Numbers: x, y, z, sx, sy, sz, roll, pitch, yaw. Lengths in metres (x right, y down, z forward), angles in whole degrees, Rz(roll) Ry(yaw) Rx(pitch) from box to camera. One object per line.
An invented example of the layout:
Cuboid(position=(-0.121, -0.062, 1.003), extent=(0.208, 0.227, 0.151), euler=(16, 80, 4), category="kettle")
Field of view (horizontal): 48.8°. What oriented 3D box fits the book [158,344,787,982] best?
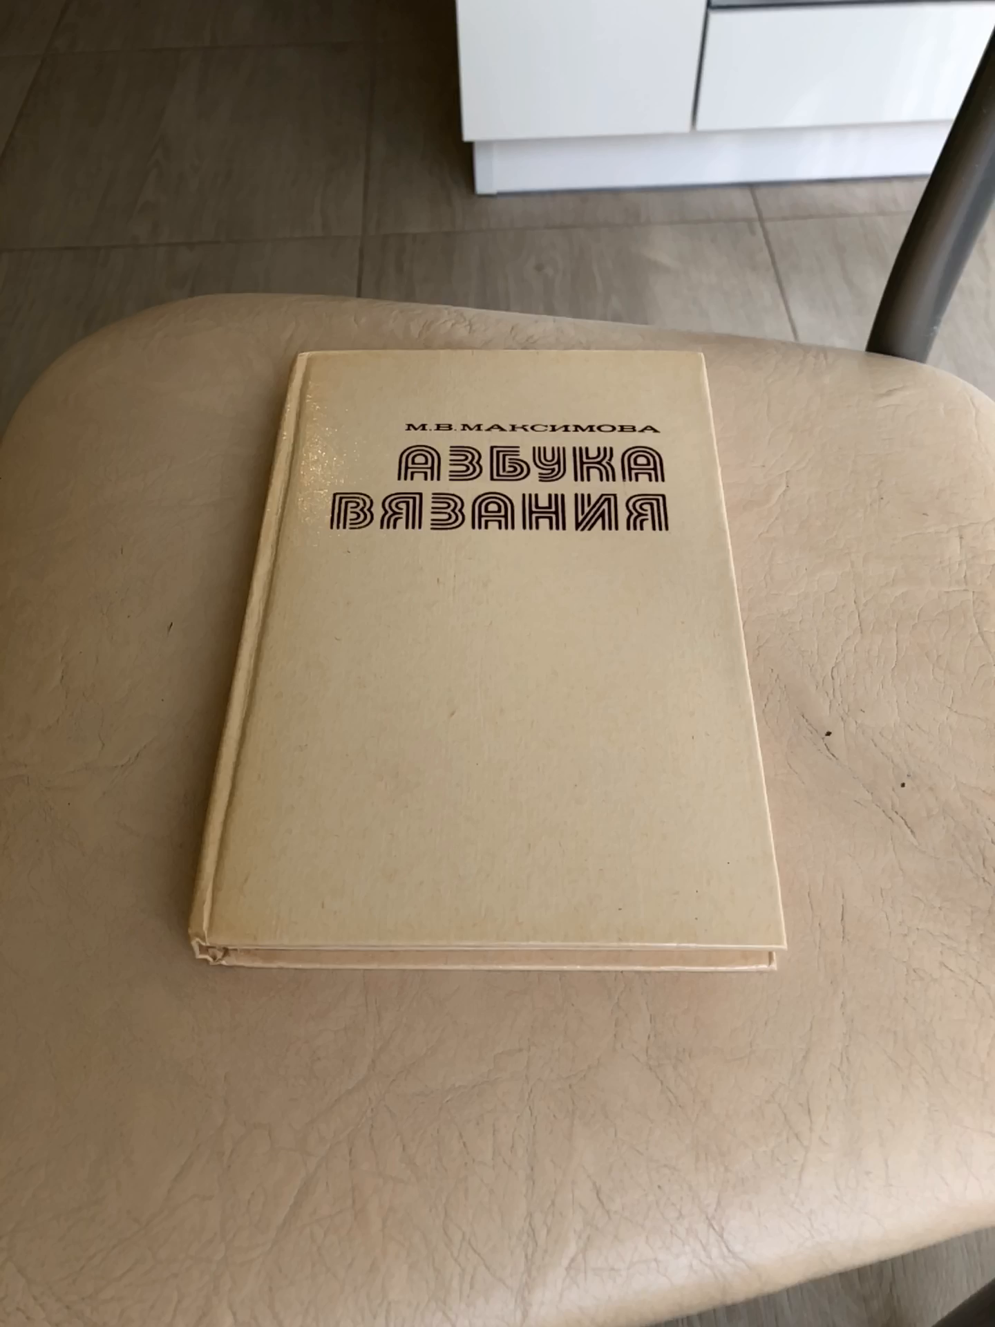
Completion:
Cuboid(position=(-0.004, -0.016, 0.332), extent=(0.148, 0.024, 0.219), euler=(0, 54, 2), category="book")
